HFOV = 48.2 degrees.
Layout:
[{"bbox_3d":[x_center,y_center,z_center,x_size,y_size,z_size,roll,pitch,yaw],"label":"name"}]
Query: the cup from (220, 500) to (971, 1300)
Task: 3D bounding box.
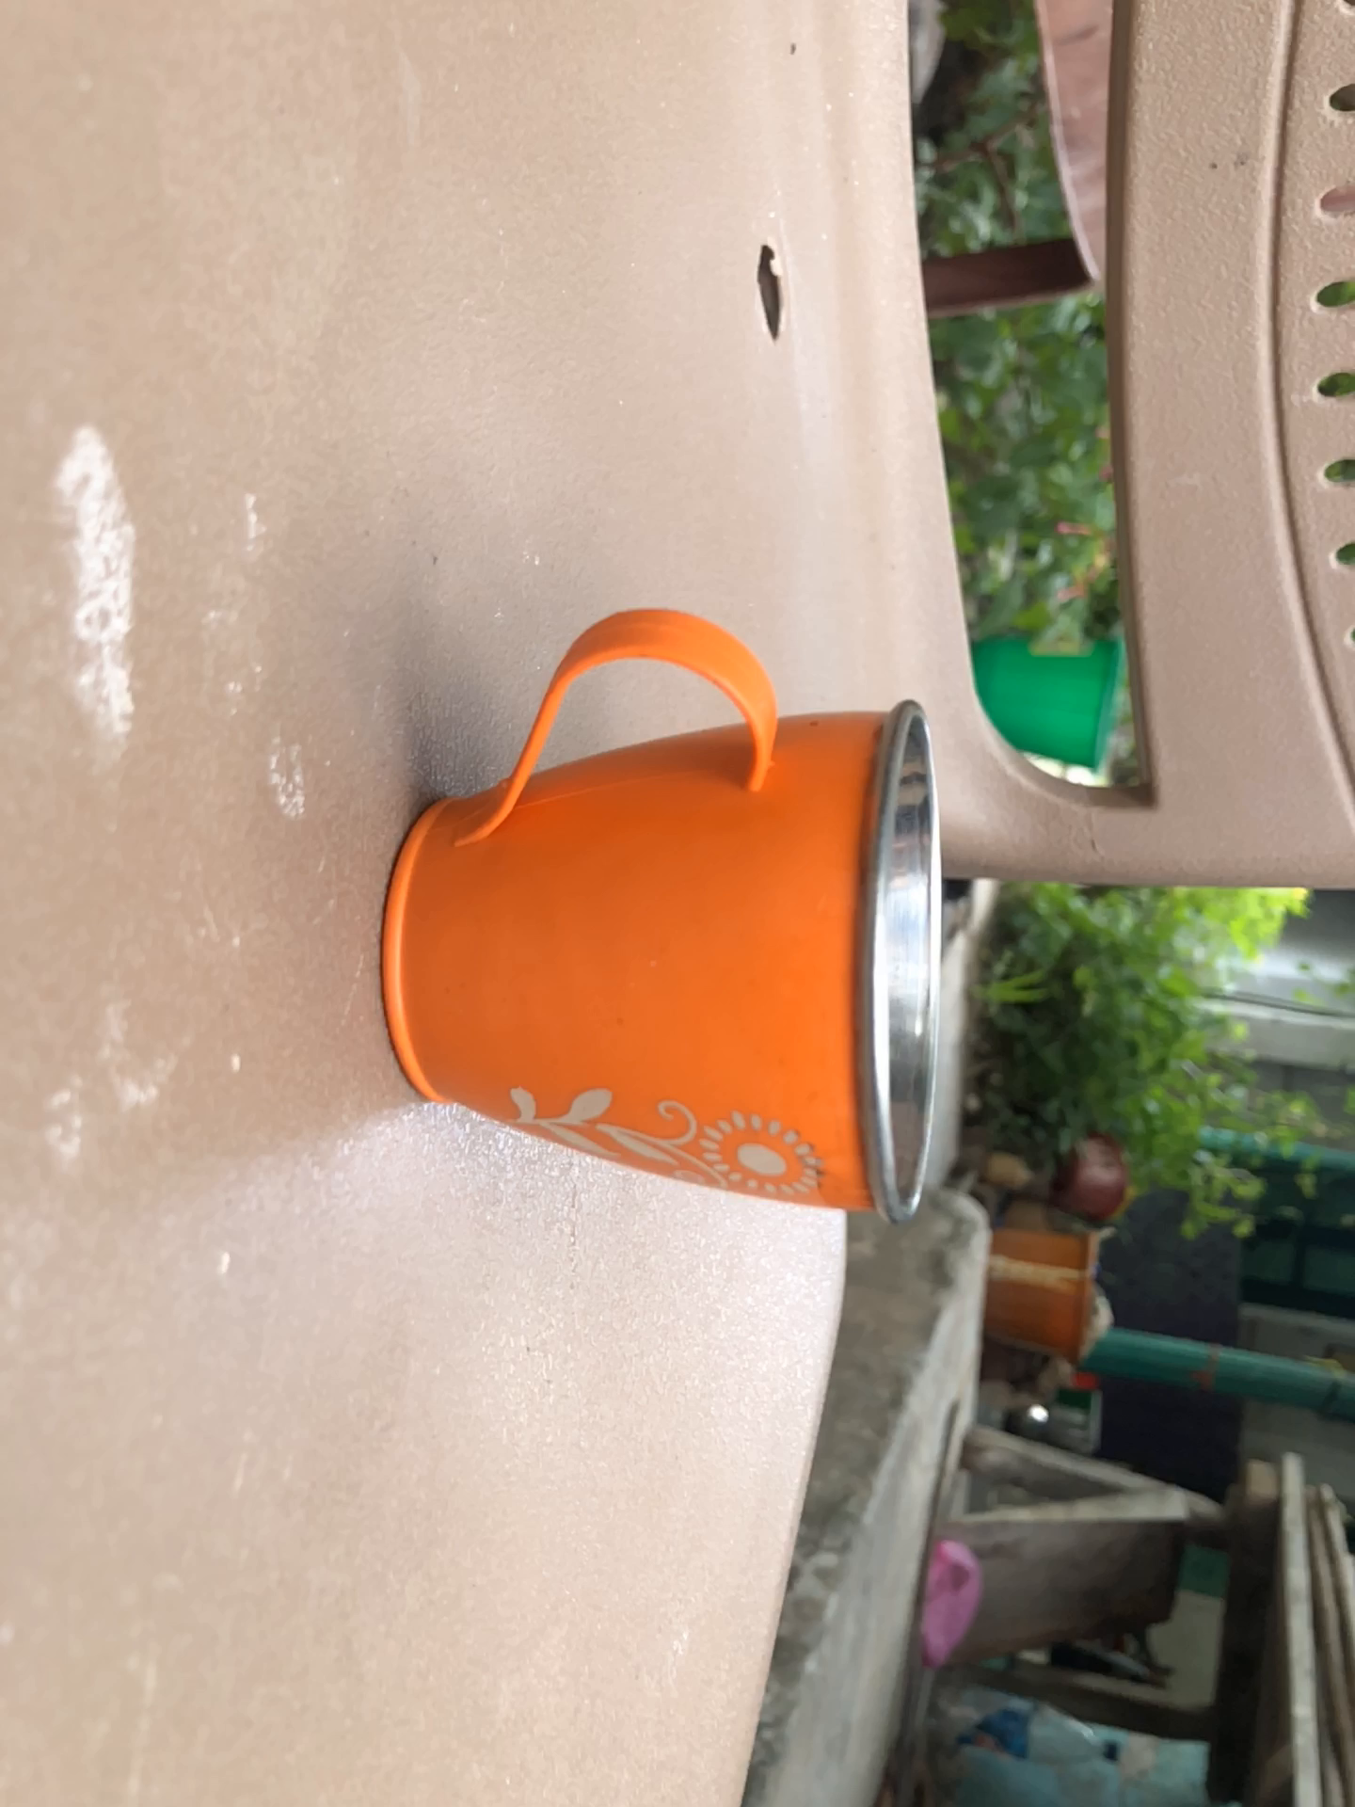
[{"bbox_3d":[-0.001,0.002,0.180,0.080,0.060,0.050,74,29,-51],"label":"cup"}]
